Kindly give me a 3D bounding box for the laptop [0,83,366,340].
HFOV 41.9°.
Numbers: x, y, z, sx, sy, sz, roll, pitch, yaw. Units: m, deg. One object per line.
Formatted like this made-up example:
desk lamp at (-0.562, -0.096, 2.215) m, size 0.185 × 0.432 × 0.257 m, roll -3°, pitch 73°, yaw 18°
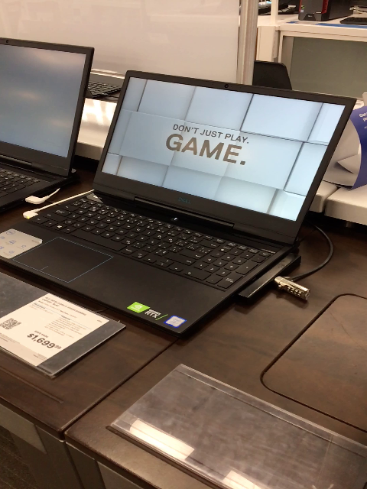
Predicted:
laptop at (-0.030, -0.076, 0.618) m, size 0.339 × 0.173 × 0.324 m, roll 23°, pitch 42°, yaw 33°
